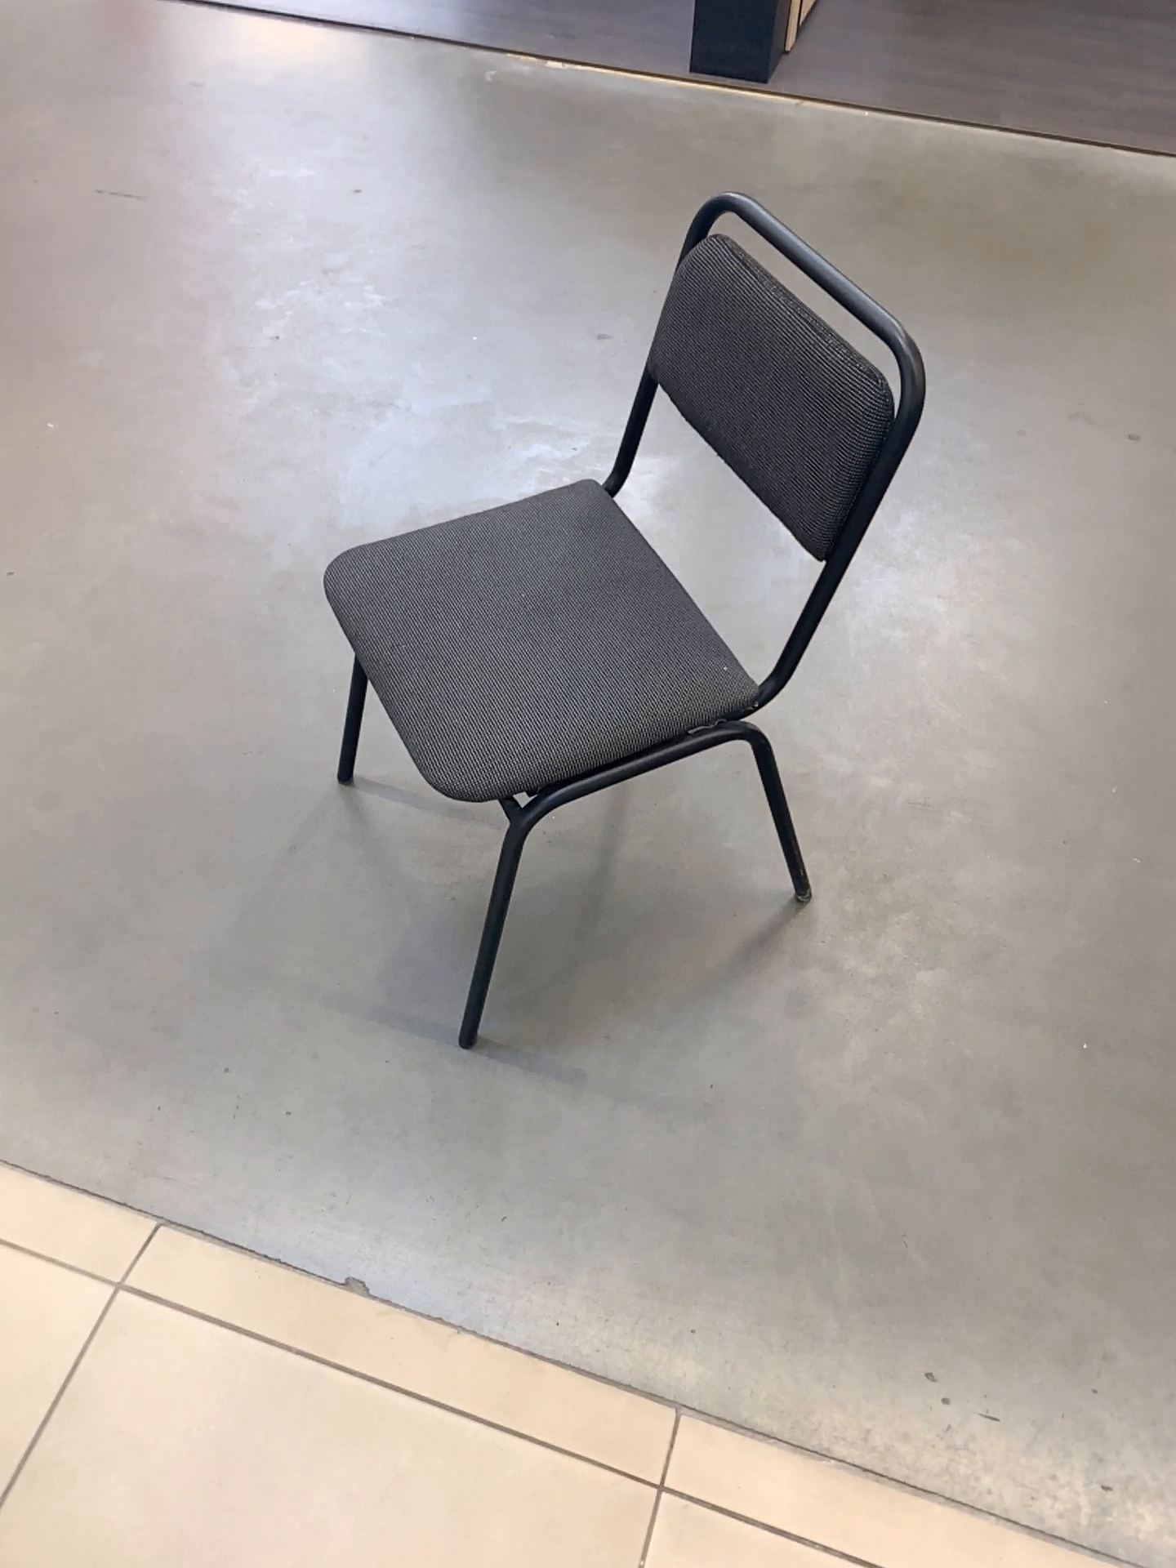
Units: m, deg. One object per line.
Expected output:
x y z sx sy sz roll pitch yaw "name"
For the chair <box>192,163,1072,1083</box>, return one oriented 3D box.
0.008 -0.170 1.387 0.630 0.737 0.552 -19 54 -16 "chair"
